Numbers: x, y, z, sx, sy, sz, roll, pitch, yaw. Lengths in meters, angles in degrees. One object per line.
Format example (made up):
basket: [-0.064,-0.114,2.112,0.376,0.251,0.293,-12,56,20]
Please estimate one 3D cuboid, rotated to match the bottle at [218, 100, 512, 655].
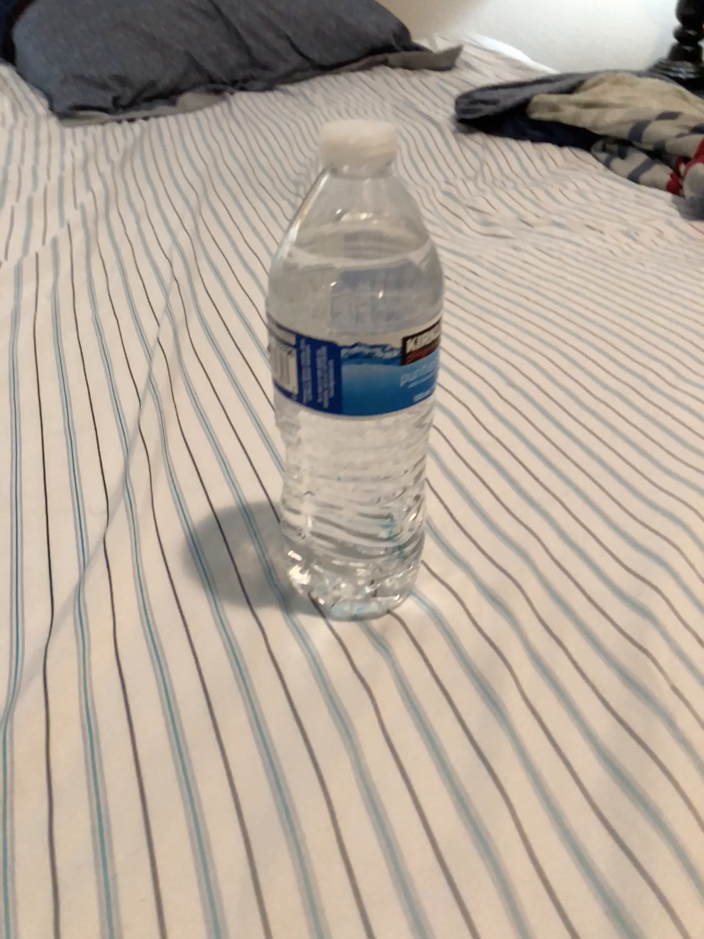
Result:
bottle: [0.004,-0.029,0.313,0.070,0.199,0.070,1,37,-1]
